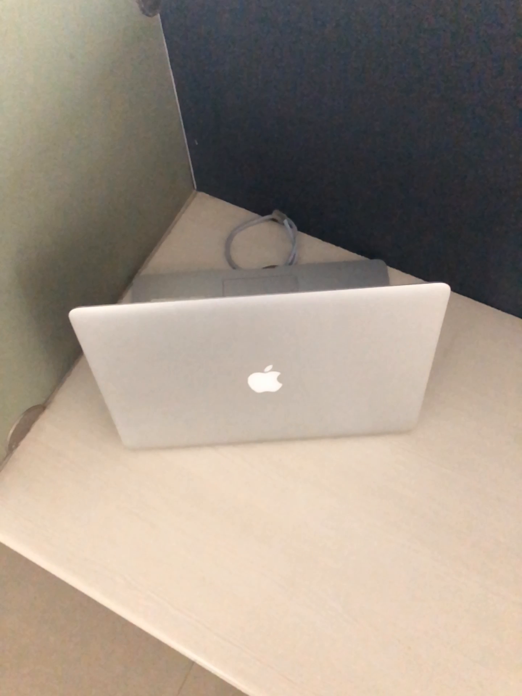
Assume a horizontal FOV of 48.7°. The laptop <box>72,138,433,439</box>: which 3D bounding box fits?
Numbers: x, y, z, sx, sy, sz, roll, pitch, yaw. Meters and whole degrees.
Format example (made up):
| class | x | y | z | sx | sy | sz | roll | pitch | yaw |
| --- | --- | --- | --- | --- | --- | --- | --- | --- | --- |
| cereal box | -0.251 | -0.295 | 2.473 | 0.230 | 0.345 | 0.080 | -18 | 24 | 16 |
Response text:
| class | x | y | z | sx | sy | sz | roll | pitch | yaw |
| --- | --- | --- | --- | --- | --- | --- | --- | --- | --- |
| laptop | -0.009 | -0.056 | 0.671 | 0.321 | 0.233 | 0.244 | -4 | 63 | 1 |
